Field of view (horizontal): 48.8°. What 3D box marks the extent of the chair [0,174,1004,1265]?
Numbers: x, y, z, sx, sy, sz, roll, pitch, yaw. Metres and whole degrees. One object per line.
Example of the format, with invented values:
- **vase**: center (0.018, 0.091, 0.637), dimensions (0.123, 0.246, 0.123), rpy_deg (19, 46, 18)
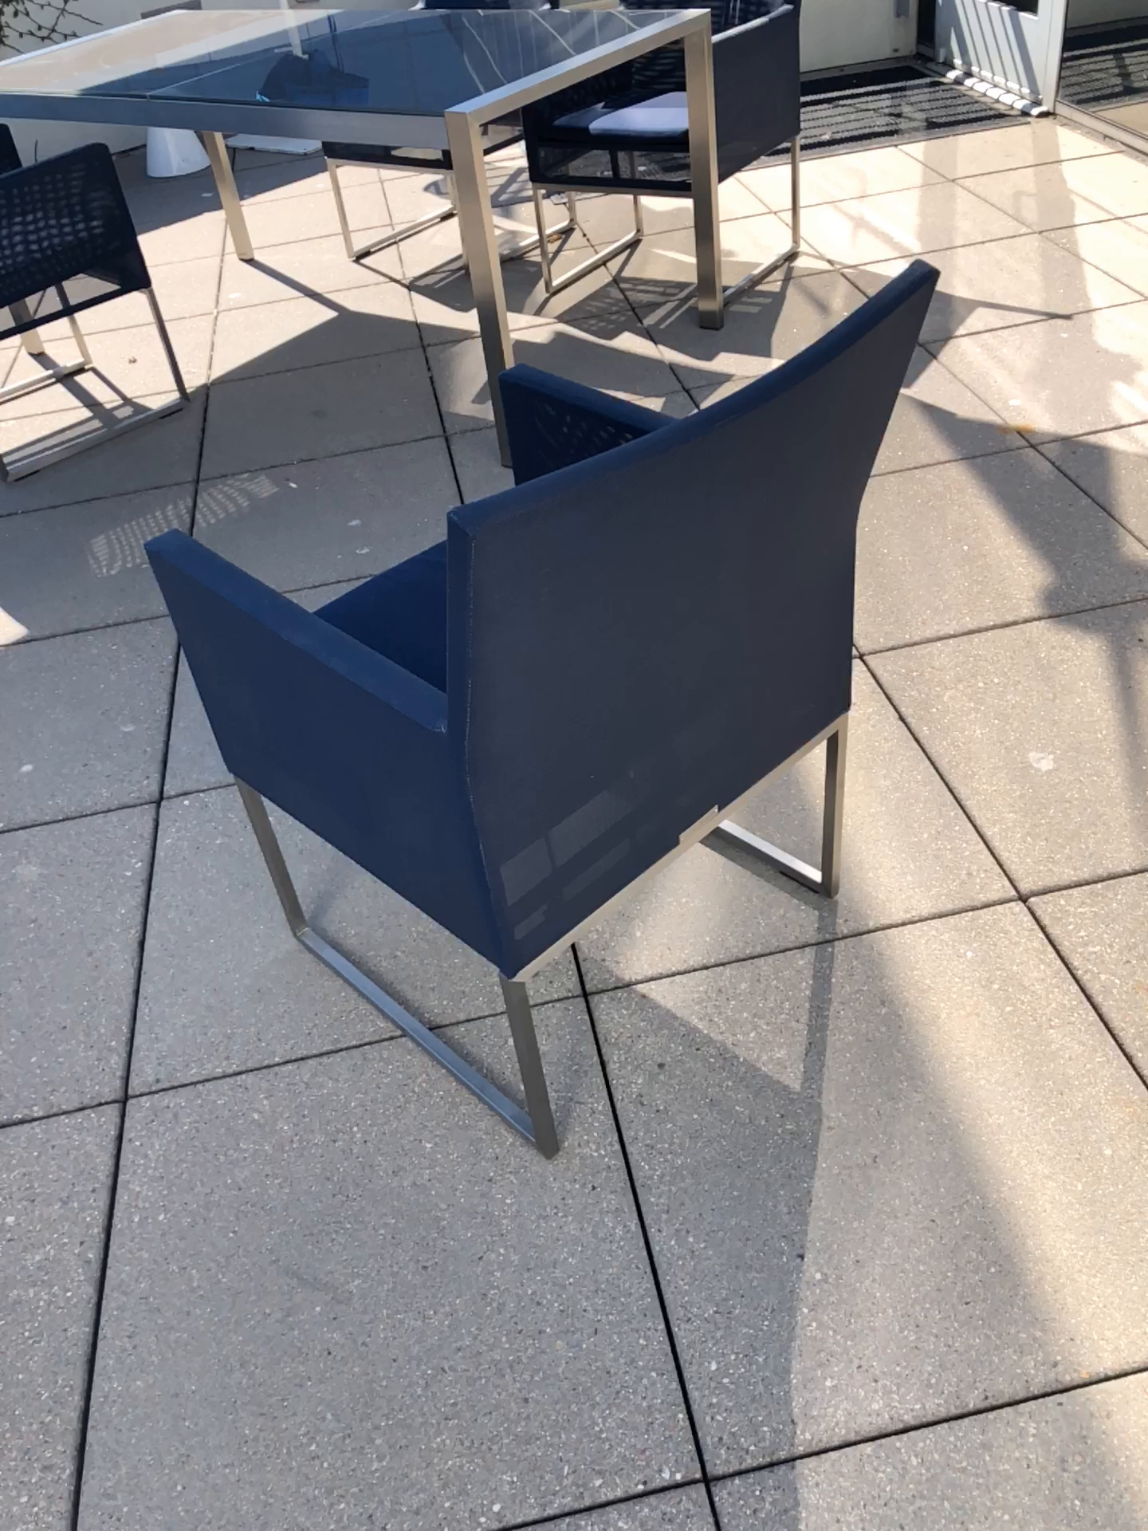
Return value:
- **chair**: center (-0.052, -0.105, 1.365), dimensions (0.651, 0.776, 0.673), rpy_deg (-35, 46, -30)
